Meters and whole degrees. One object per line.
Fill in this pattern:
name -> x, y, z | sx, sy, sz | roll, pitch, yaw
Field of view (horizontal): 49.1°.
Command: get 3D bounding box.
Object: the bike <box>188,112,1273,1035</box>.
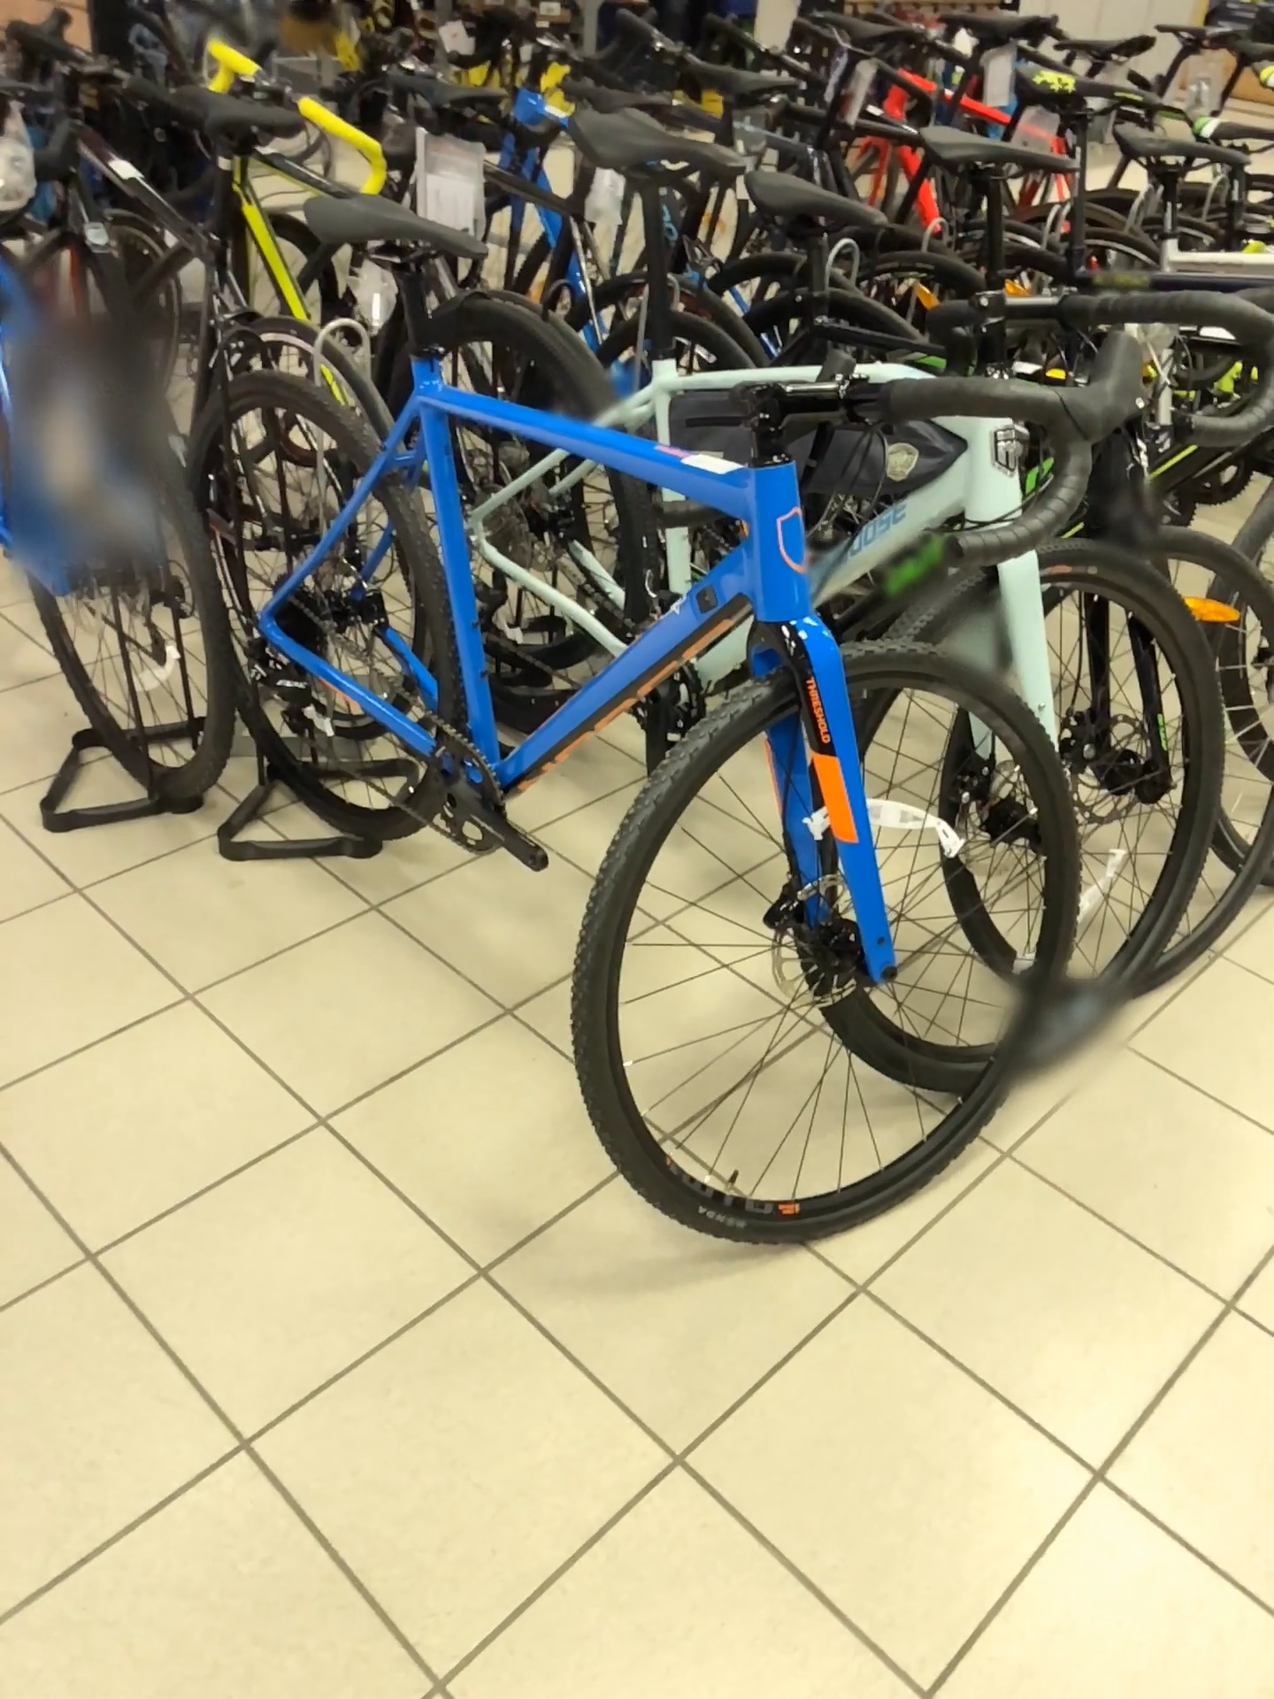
bike -> 0.186, -0.482, 2.096 | 1.422, 0.870, 0.618 | 24, 39, 23

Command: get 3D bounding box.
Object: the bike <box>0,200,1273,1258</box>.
bike -> -0.063, -0.230, 1.949 | 1.470, 0.805, 0.527 | 28, 40, 21
